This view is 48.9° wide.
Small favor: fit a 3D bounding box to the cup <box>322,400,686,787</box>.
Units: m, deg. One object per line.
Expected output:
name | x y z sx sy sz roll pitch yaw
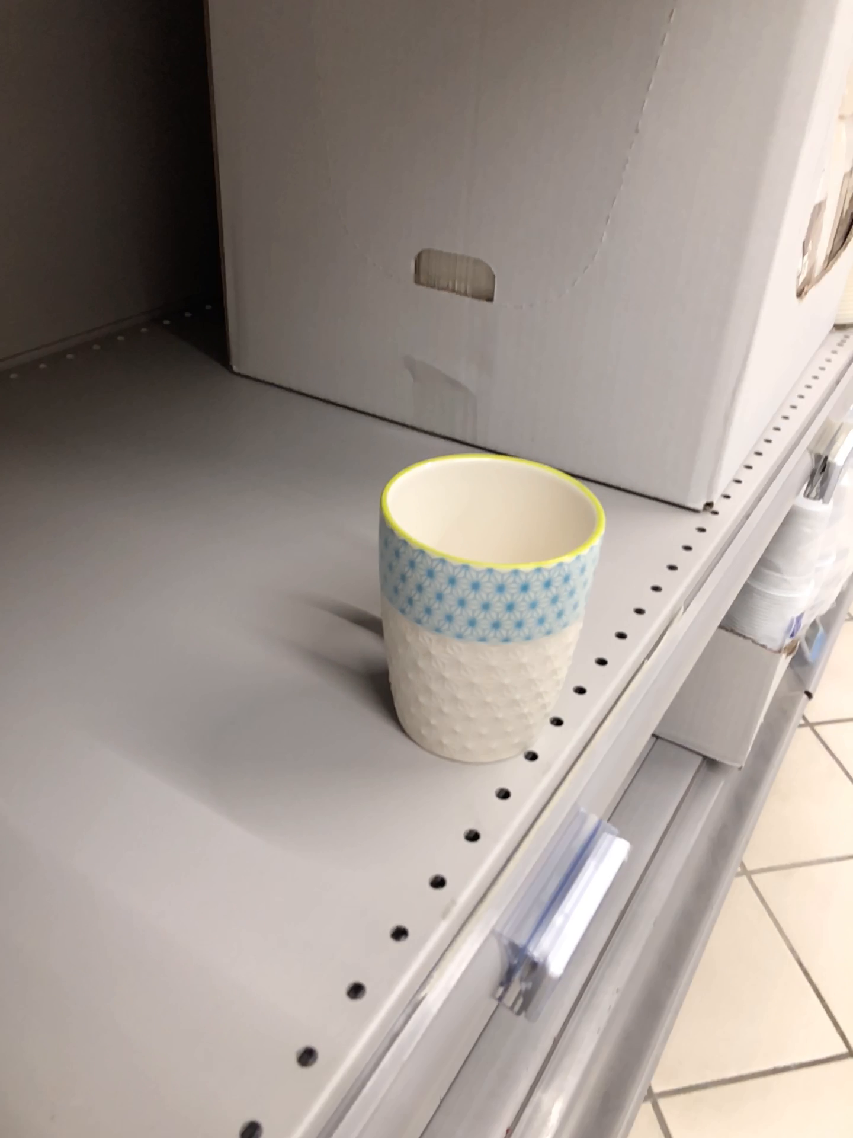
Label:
cup | 0.020 0.002 0.377 0.098 0.091 0.119 -7 36 -18
